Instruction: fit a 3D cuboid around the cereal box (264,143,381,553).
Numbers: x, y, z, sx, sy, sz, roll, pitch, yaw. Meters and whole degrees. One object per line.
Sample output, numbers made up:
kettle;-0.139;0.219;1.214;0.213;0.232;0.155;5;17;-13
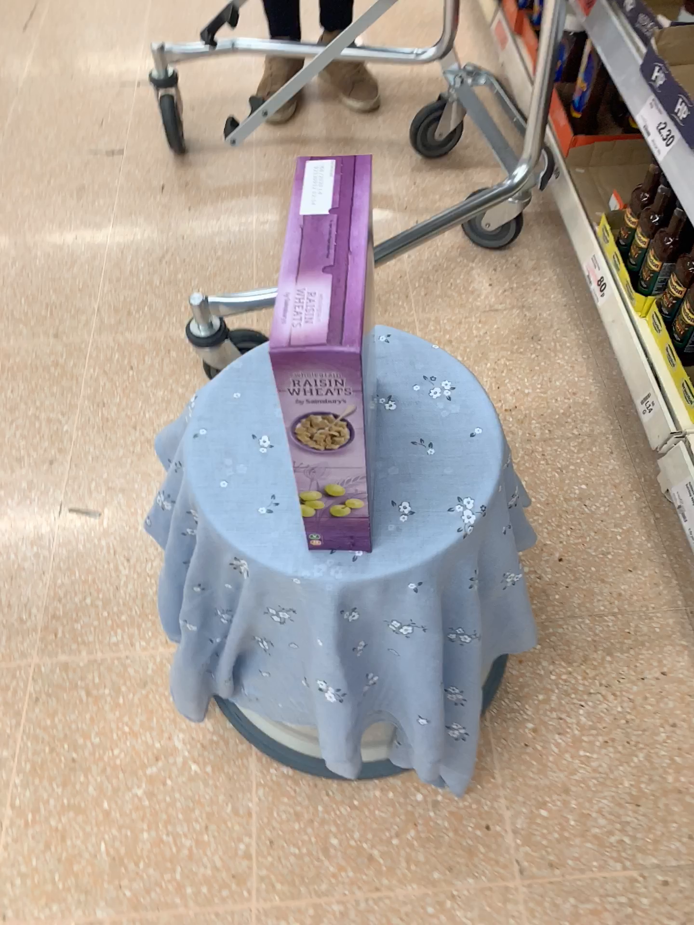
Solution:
cereal box;-0.006;-0.076;0.542;0.060;0.238;0.202;0;56;4
